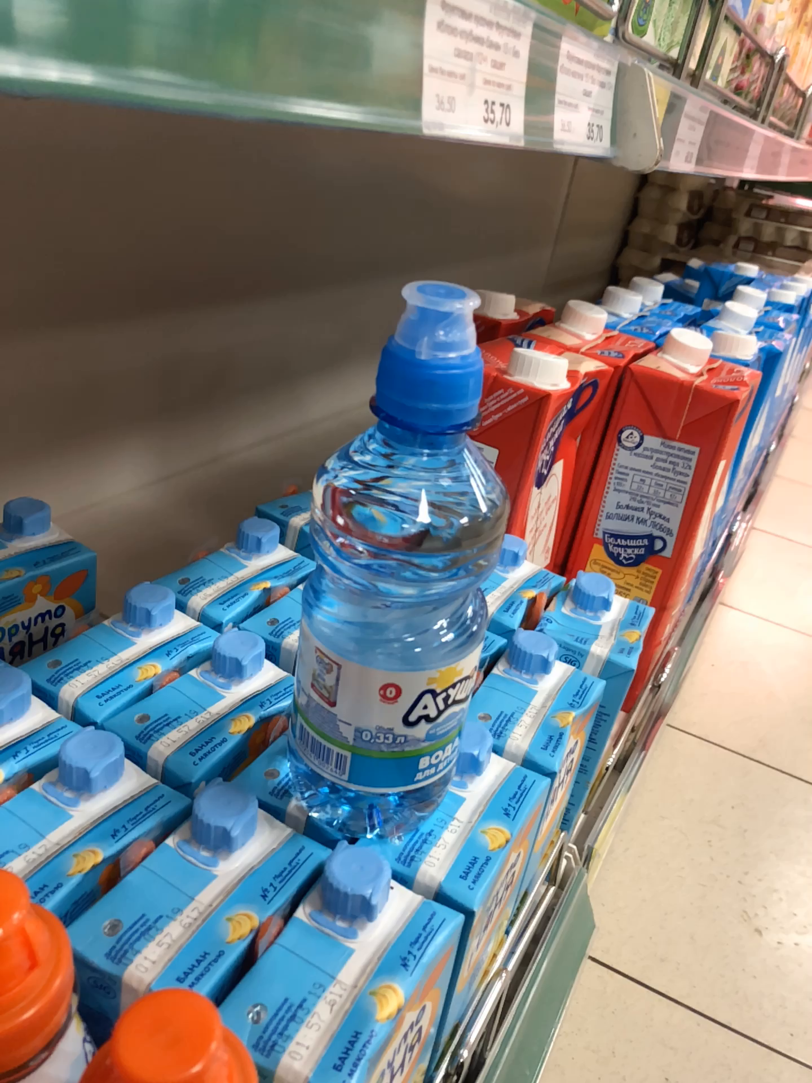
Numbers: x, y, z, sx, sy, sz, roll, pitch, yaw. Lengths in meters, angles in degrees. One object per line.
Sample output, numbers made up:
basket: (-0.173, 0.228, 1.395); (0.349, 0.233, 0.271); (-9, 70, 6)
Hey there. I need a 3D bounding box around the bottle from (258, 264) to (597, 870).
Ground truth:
bottle: (0.001, 0.010, 0.283); (0.056, 0.174, 0.060); (8, 28, -4)
